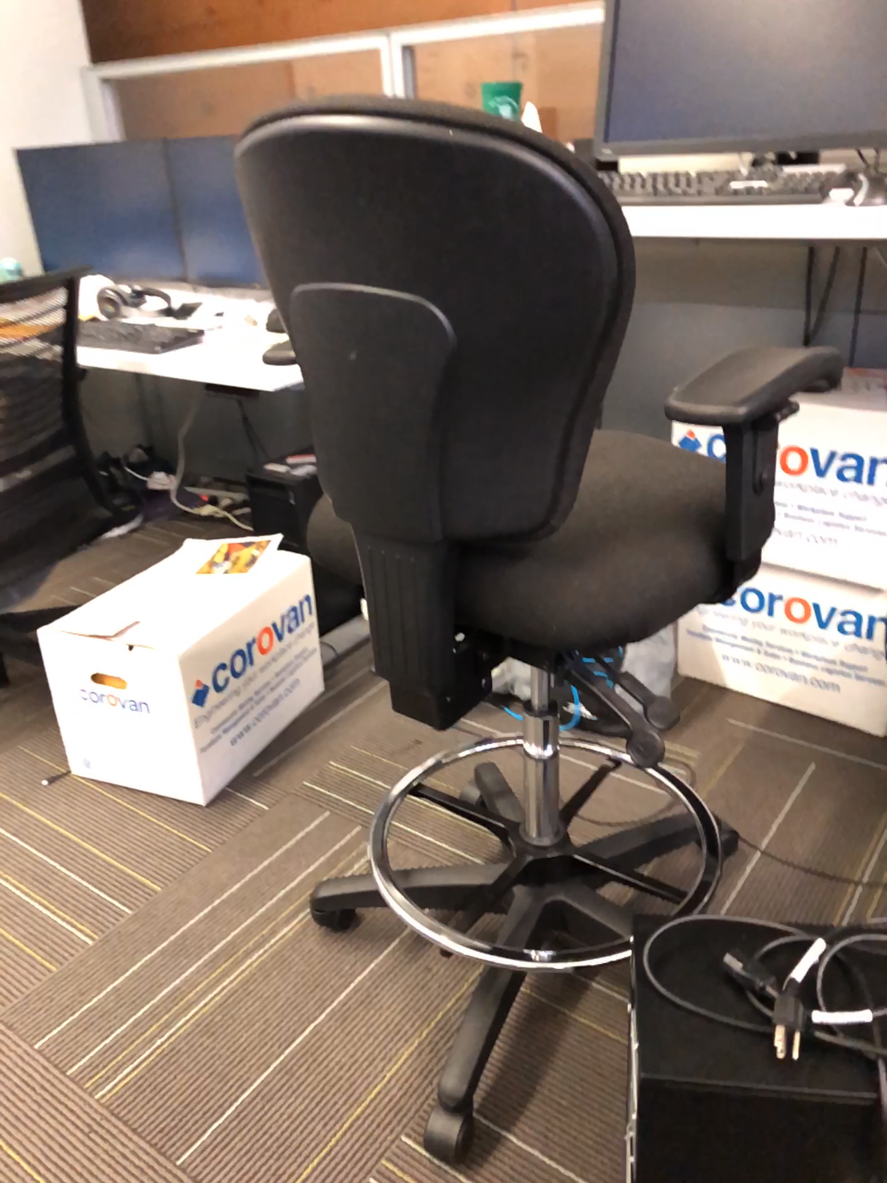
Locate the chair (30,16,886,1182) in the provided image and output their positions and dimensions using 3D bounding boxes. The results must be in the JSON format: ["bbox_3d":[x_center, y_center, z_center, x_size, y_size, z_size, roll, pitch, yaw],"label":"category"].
[{"bbox_3d":[0.125,0.003,1.191,0.642,1.134,0.732,18,32,38],"label":"chair"}]
